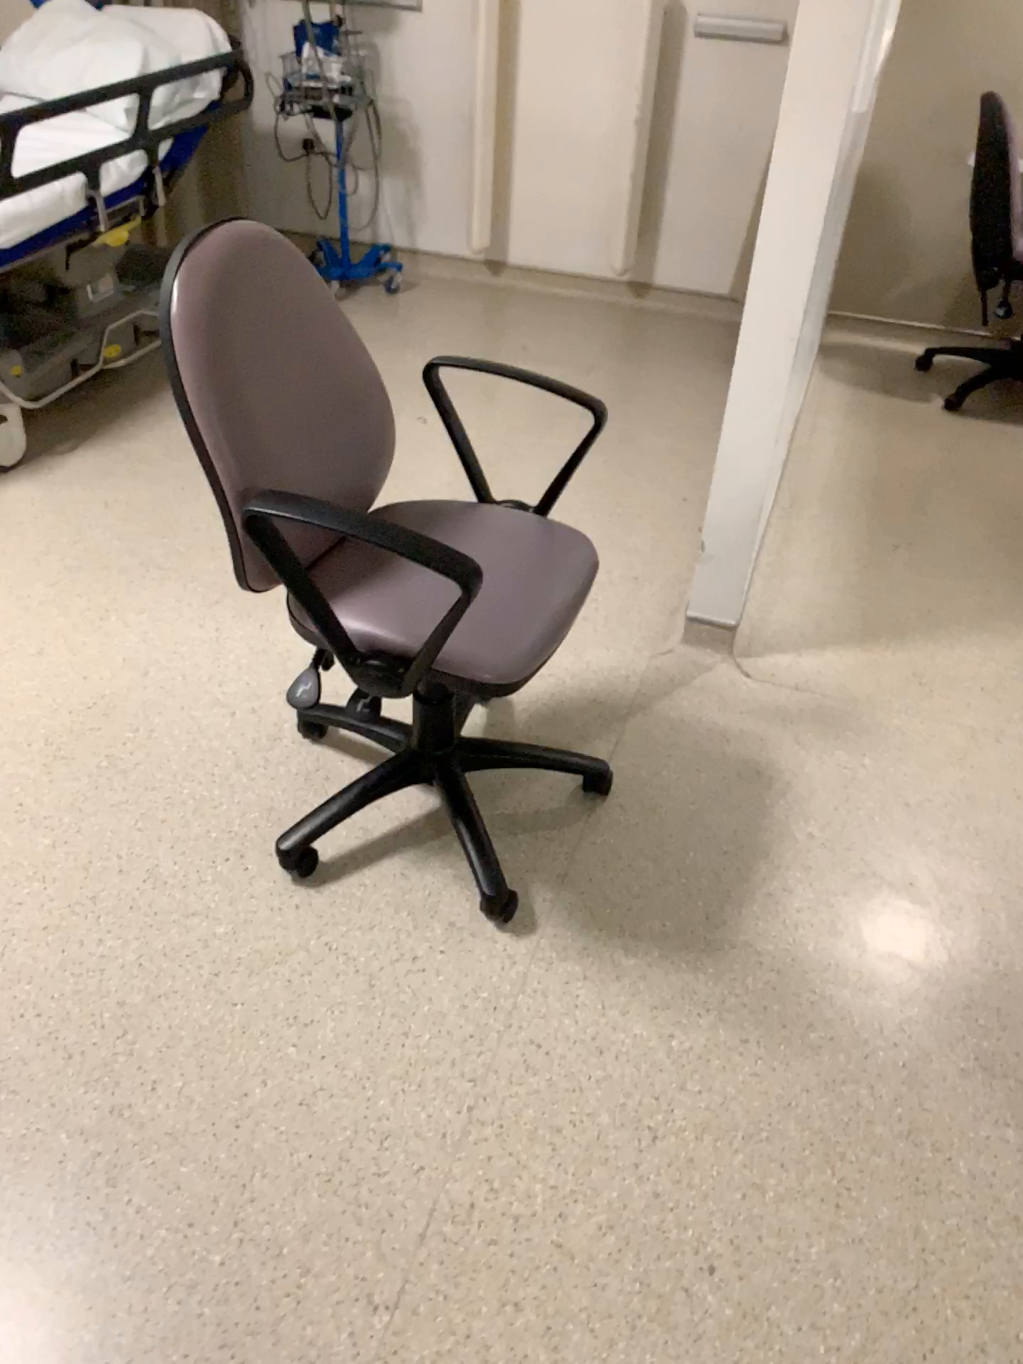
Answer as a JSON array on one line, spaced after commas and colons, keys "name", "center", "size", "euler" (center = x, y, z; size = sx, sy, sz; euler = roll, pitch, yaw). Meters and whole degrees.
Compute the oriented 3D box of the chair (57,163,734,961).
[{"name": "chair", "center": [-0.115, -0.205, 1.598], "size": [0.655, 0.899, 0.637], "euler": [14, 37, 14]}]
